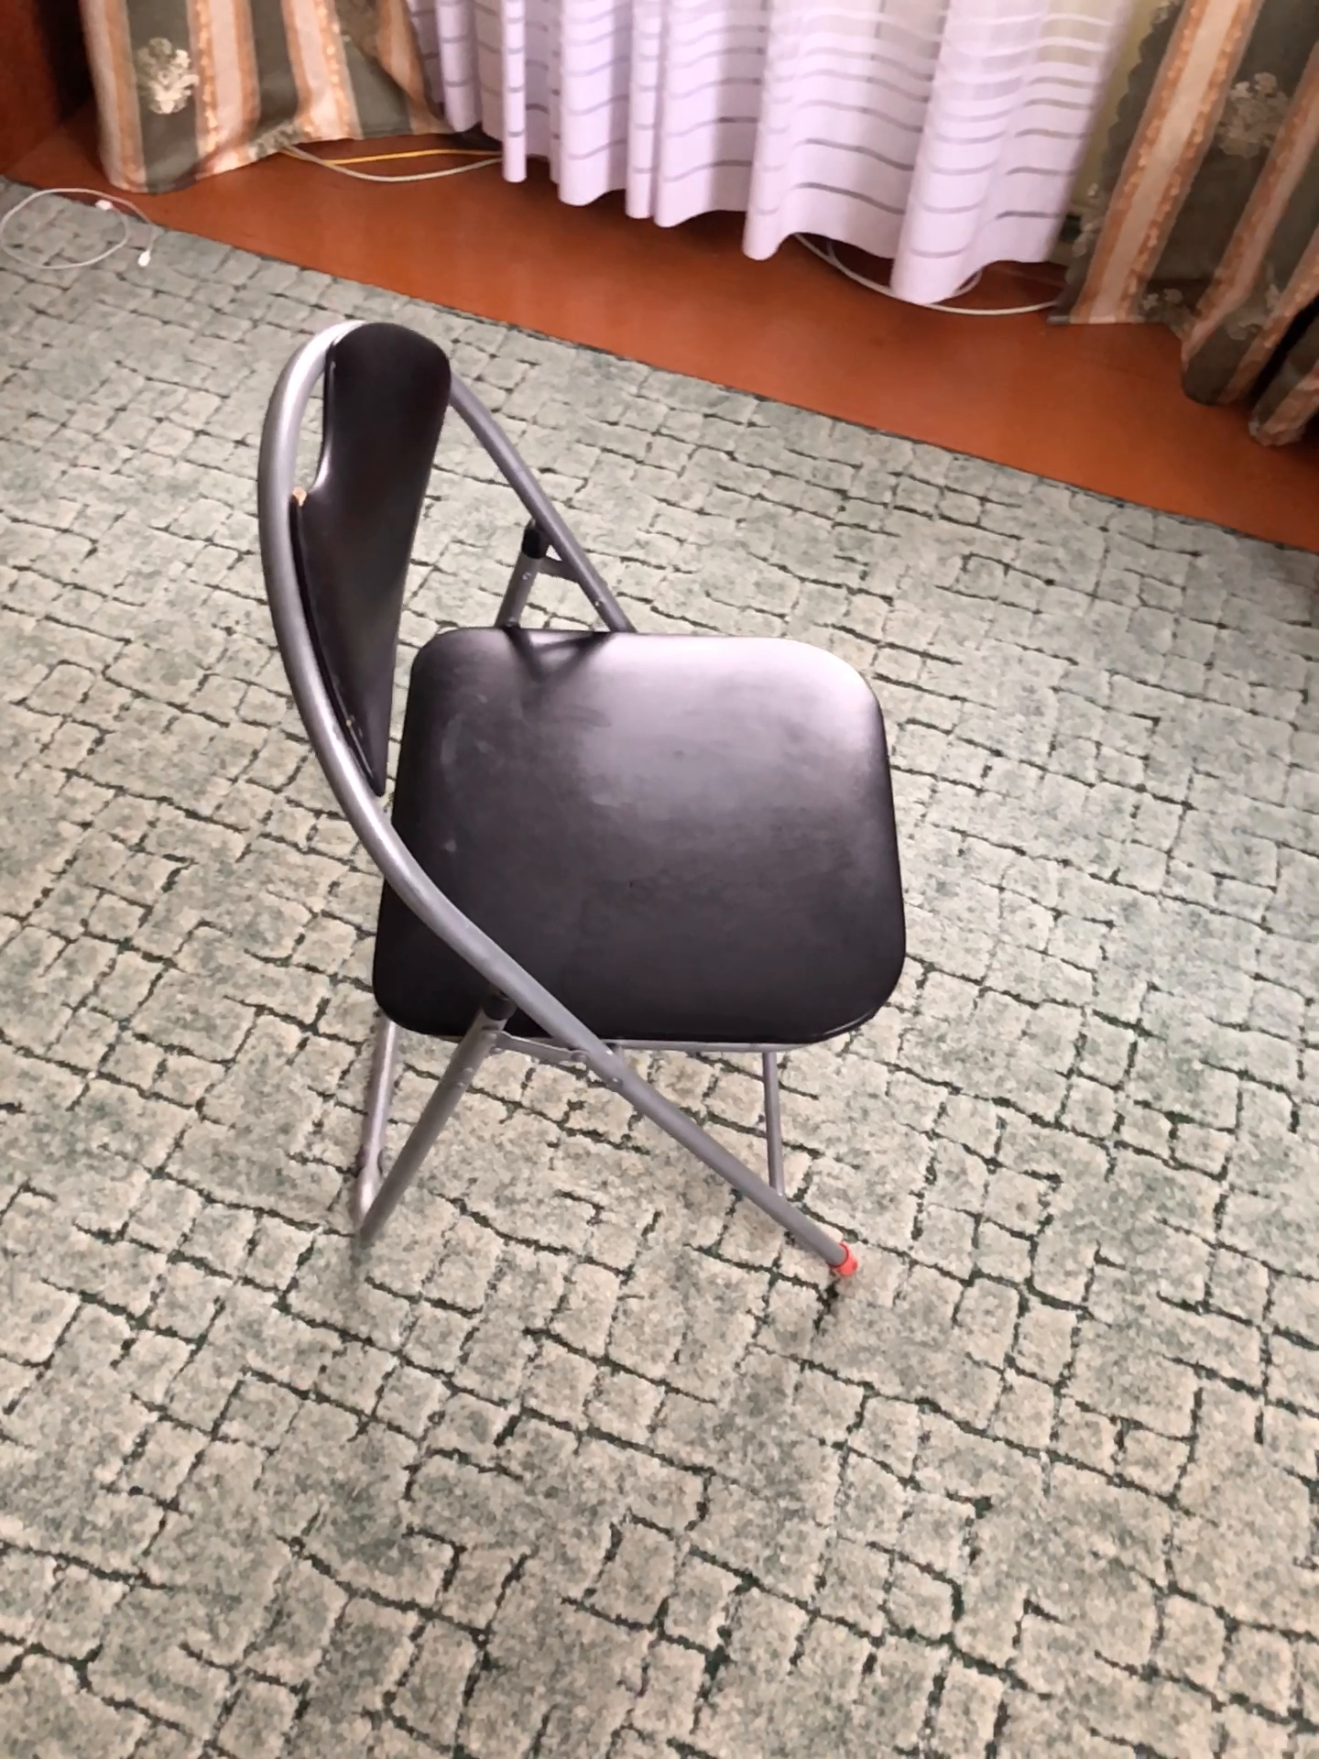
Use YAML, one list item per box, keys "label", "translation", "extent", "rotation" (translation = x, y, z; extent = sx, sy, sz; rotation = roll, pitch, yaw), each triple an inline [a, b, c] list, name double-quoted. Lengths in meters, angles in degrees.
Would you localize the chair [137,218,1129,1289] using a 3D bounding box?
- label: "chair"
  translation: [-0.033, -0.029, 1.122]
  extent: [0.474, 0.732, 0.459]
  rotation: [1, 55, -3]
